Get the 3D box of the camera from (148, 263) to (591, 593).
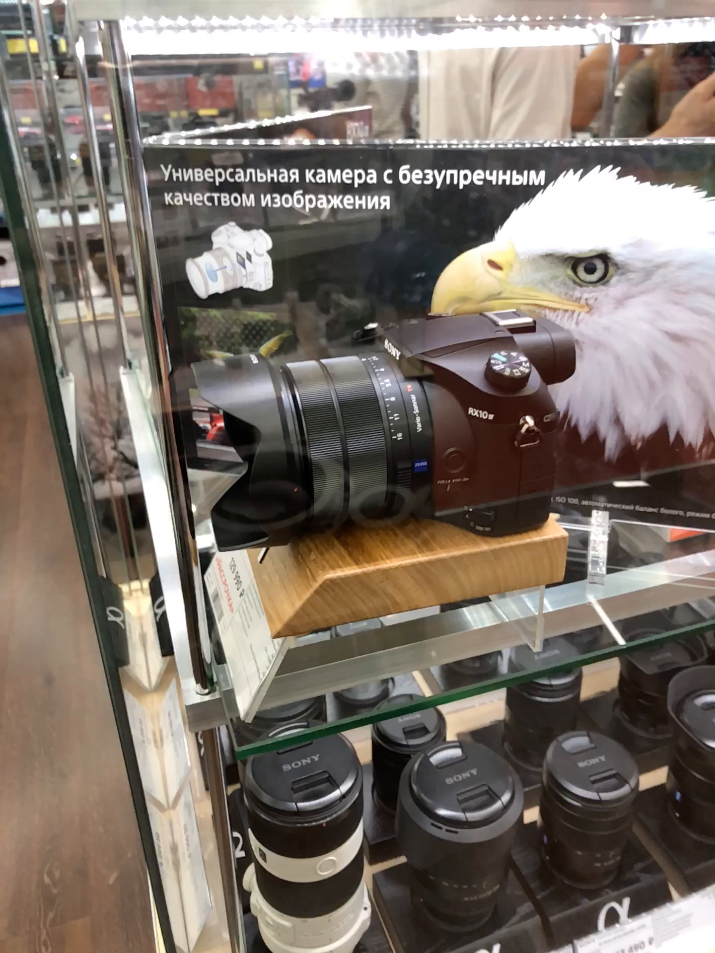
[{"bbox_3d":[-0.002,-0.036,0.394,0.178,0.099,0.127,-10,27,-15],"label":"camera"}]
